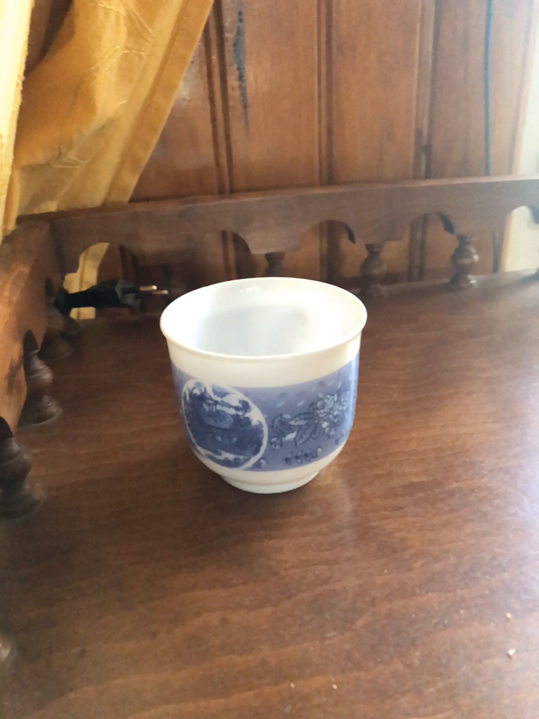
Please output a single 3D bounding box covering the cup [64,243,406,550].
[{"bbox_3d":[-0.005,0.003,0.225,0.080,0.060,0.101,12,30,27],"label":"cup"}]
